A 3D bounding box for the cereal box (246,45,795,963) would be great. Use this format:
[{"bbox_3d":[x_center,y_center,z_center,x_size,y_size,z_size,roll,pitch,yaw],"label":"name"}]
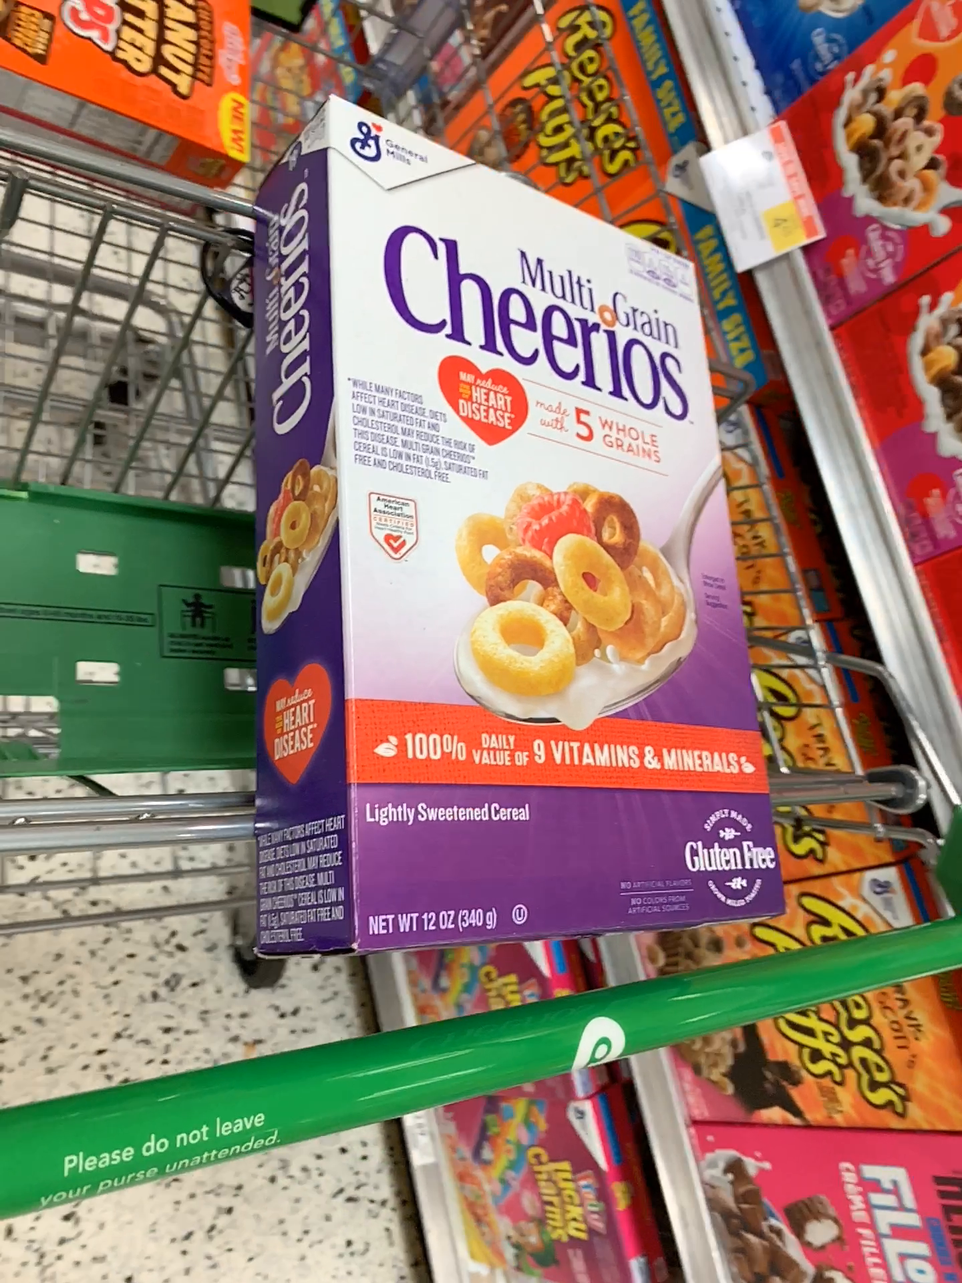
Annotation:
[{"bbox_3d":[0.013,-0.046,0.407,0.201,0.069,0.321,8,71,-36],"label":"cereal box"}]
